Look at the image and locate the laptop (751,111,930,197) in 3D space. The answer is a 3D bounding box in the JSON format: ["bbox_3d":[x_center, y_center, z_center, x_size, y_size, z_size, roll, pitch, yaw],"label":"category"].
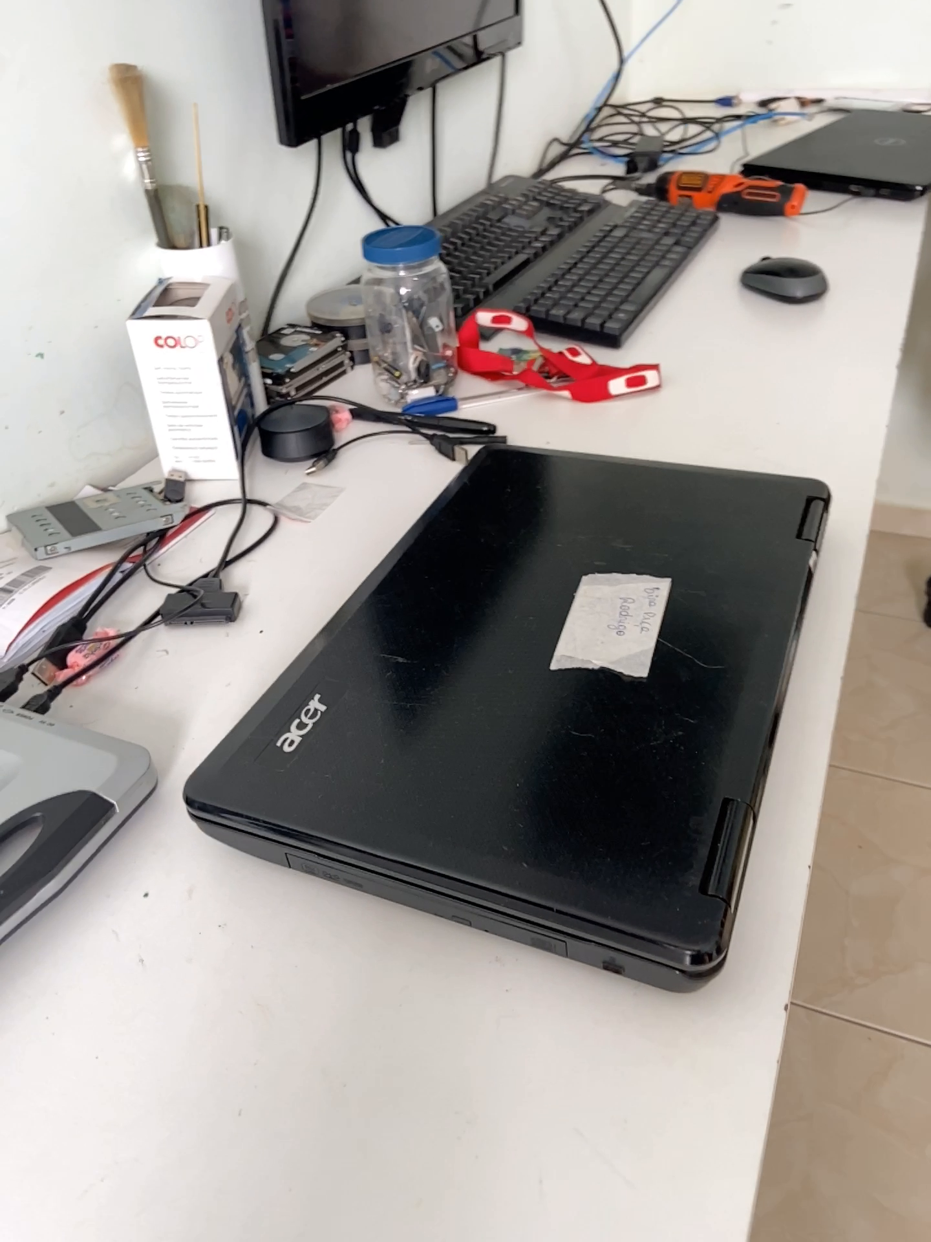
[{"bbox_3d":[0.616,-0.686,1.391,0.243,0.011,0.312,29,52,34],"label":"laptop"}]

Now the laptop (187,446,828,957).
[{"bbox_3d":[0.052,-0.001,0.526,0.238,0.005,0.358,11,39,21],"label":"laptop"}]
